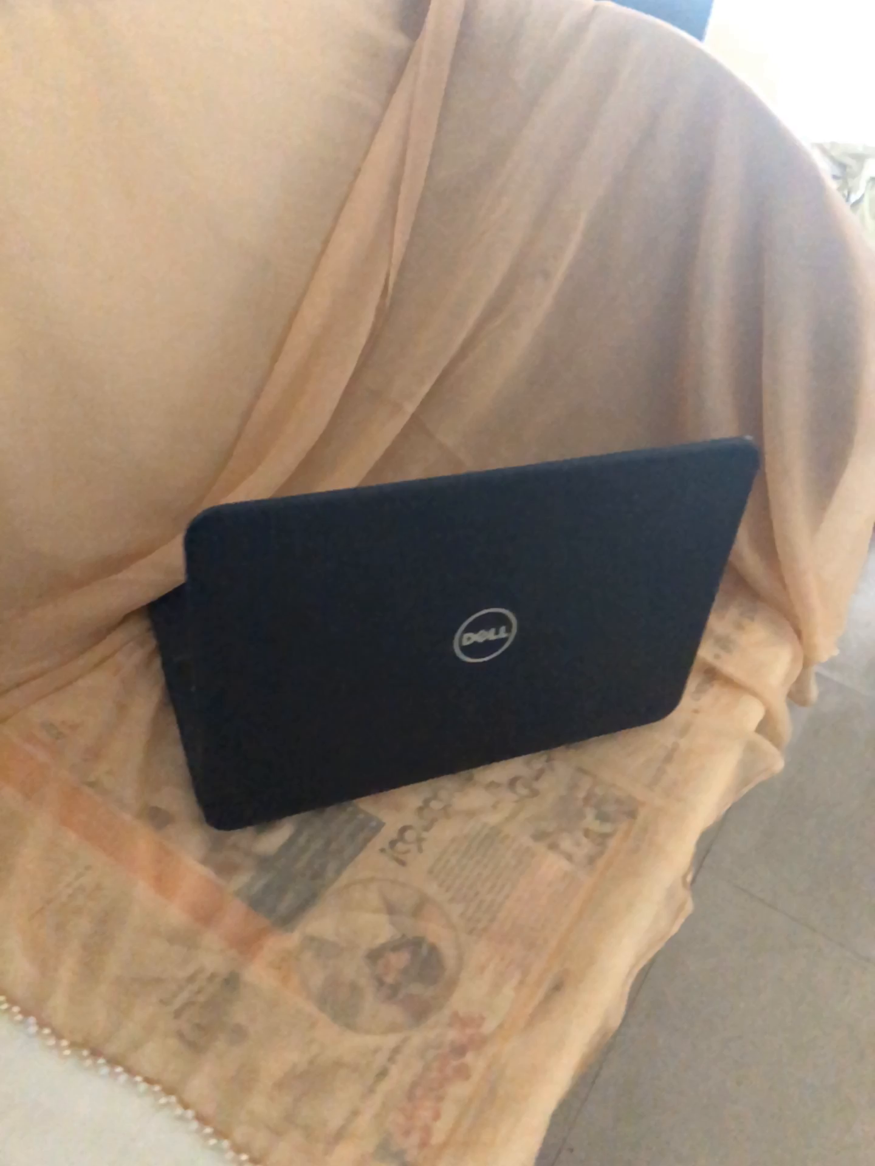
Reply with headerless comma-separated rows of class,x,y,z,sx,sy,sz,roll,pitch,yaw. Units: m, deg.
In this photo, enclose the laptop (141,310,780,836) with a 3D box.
laptop,-0.010,-0.028,0.700,0.333,0.237,0.257,-11,40,-21
